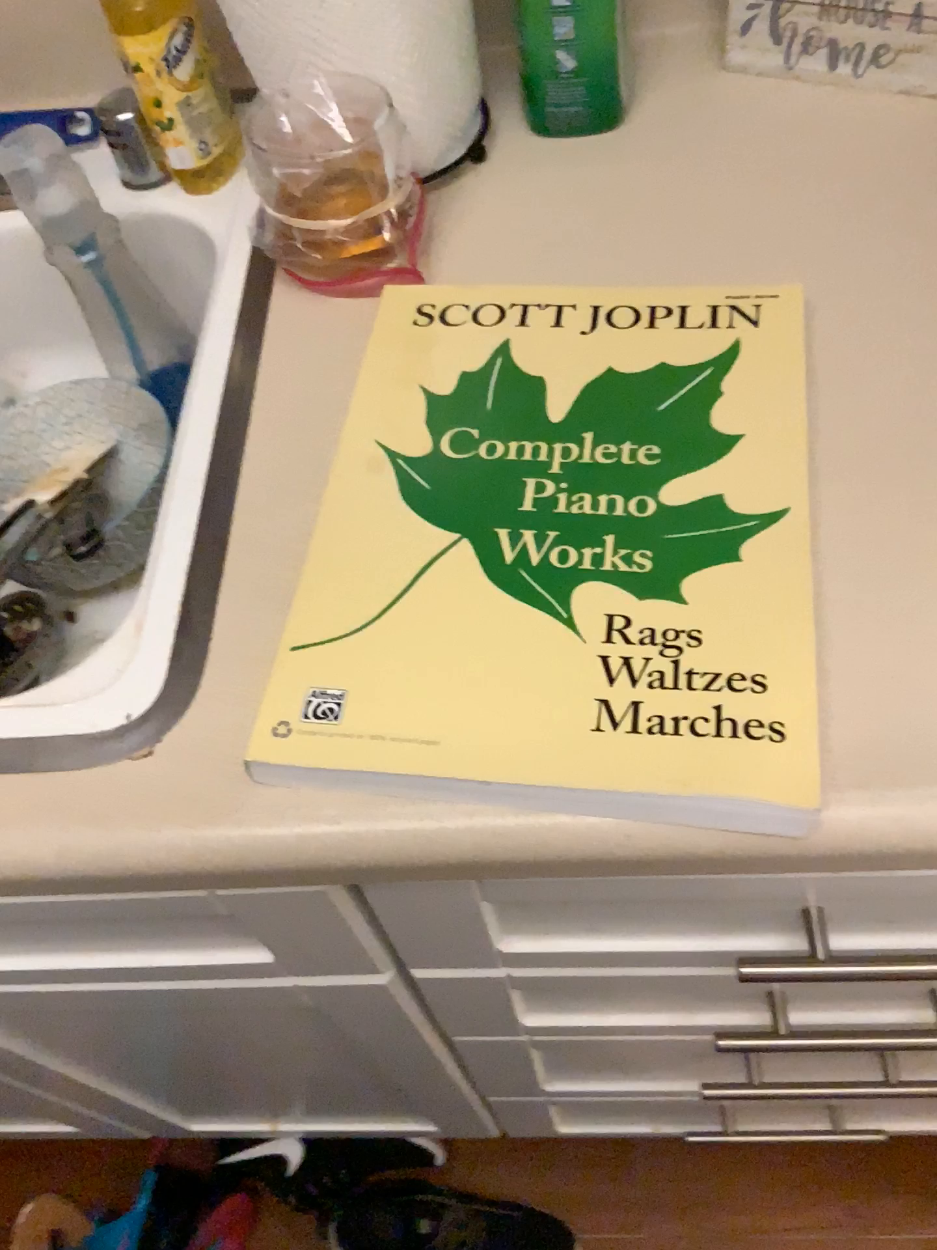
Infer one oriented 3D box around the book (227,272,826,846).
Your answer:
[{"bbox_3d":[0.044,-0.059,0.515,0.240,0.030,0.320,4,56,11],"label":"book"}]
